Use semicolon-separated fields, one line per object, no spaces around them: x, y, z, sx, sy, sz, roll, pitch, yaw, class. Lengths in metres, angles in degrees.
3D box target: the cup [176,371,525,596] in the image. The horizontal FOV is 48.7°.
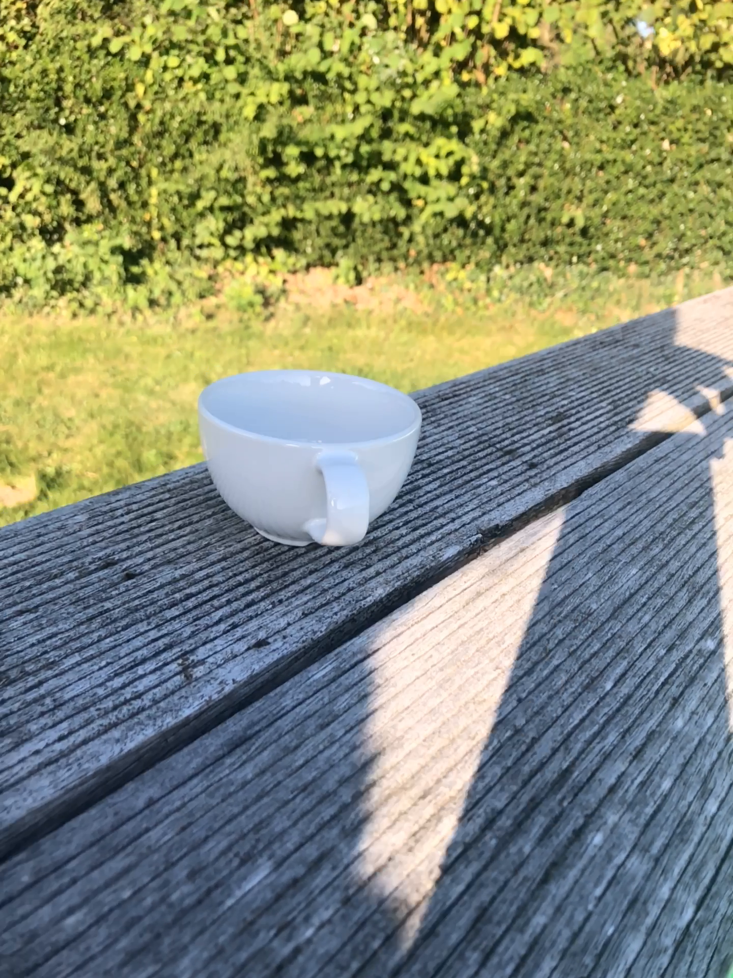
-0.015;-0.011;0.314;0.104;0.038;0.121;-4;23;-16;cup
